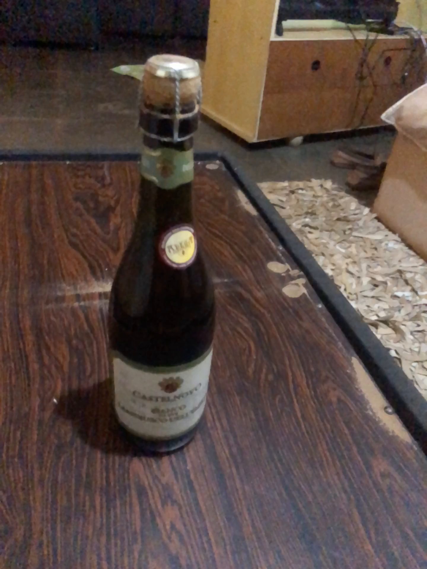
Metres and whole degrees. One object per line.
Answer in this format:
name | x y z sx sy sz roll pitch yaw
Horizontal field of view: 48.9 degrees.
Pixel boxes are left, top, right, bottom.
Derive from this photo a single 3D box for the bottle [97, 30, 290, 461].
bottle | -0.030 -0.005 0.339 0.090 0.298 0.091 5 35 -3
